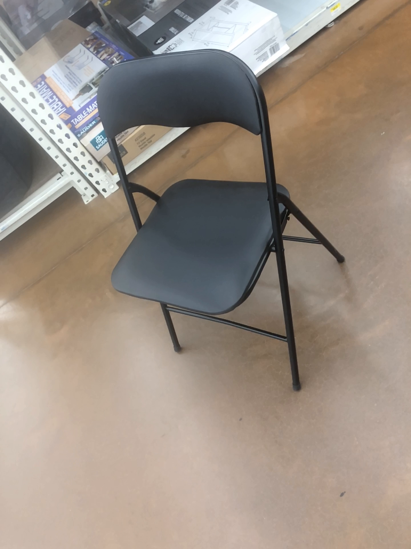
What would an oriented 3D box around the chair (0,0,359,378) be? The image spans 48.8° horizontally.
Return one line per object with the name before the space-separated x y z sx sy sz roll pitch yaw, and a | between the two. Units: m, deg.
chair | 0.002 -0.165 1.137 0.522 0.757 0.490 8 62 33
